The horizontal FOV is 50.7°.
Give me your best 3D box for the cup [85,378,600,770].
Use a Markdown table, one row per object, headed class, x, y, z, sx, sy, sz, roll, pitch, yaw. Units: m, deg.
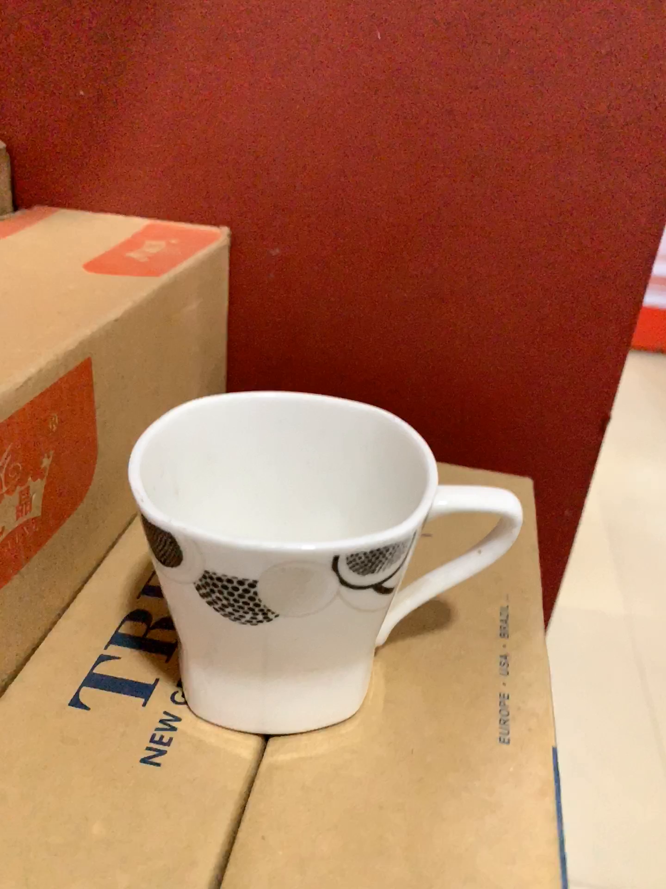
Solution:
| class | x | y | z | sx | sy | sz | roll | pitch | yaw |
| --- | --- | --- | --- | --- | --- | --- | --- | --- | --- |
| cup | -0.002 | 0.025 | 0.162 | 0.090 | 0.060 | 0.060 | 0 | 30 | -8 |
